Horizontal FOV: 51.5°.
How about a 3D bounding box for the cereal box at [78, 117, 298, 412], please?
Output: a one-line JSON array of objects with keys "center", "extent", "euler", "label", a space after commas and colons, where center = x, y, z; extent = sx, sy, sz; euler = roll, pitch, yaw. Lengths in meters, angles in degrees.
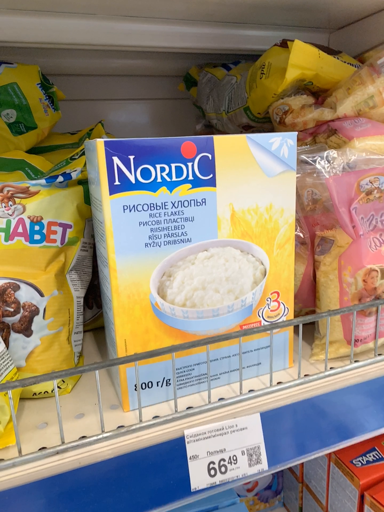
[{"center": [-0.001, -0.003, 0.327], "extent": [0.150, 0.199, 0.080], "euler": [-8, 14, -19], "label": "cereal box"}]
